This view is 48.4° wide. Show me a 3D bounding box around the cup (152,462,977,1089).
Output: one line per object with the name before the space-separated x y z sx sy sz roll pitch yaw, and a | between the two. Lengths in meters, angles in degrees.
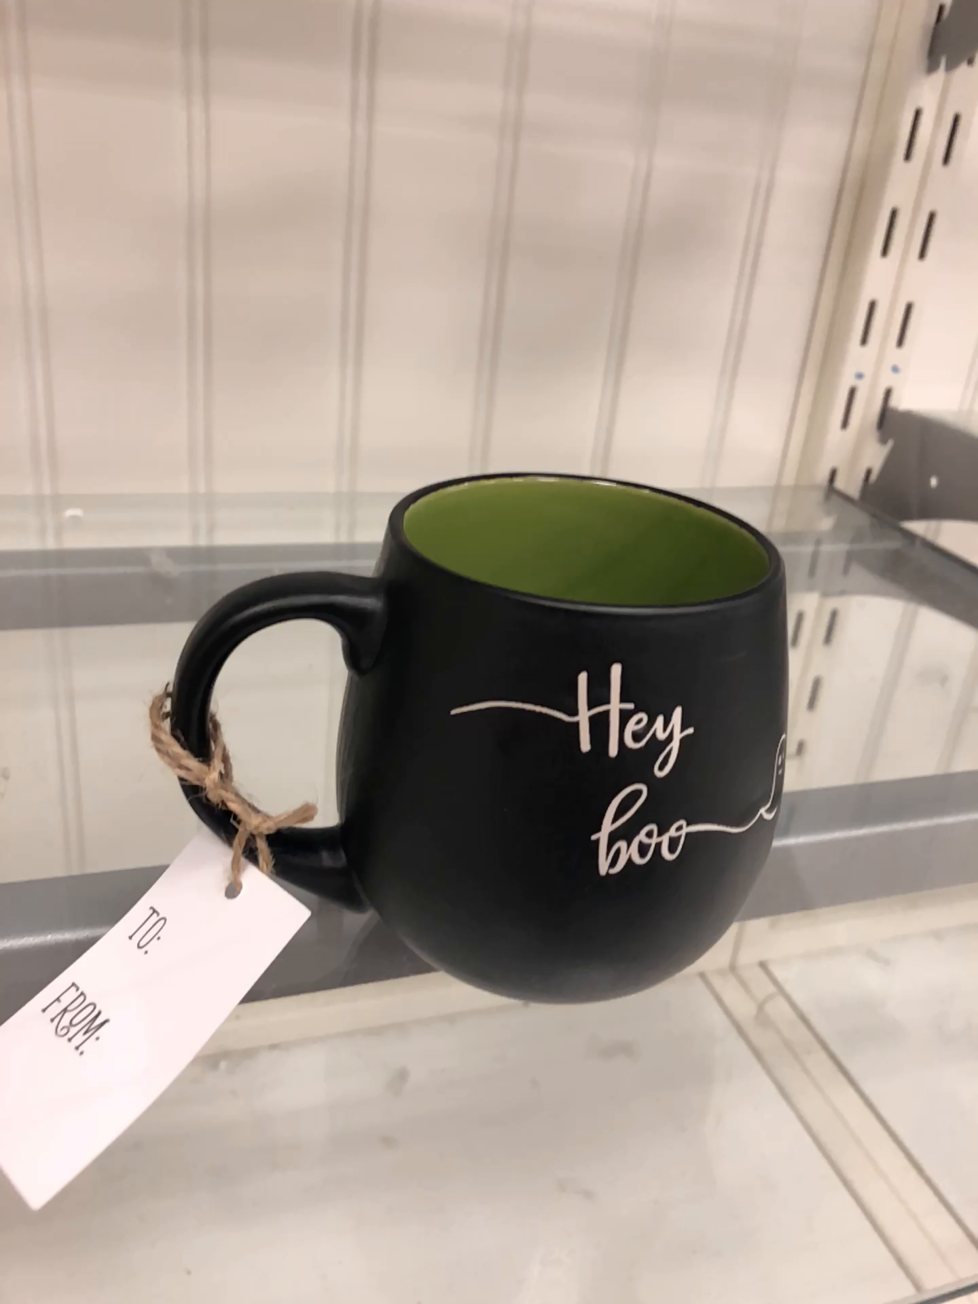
cup | 0.007 0.015 0.240 0.149 0.089 0.091 -3 26 -19
